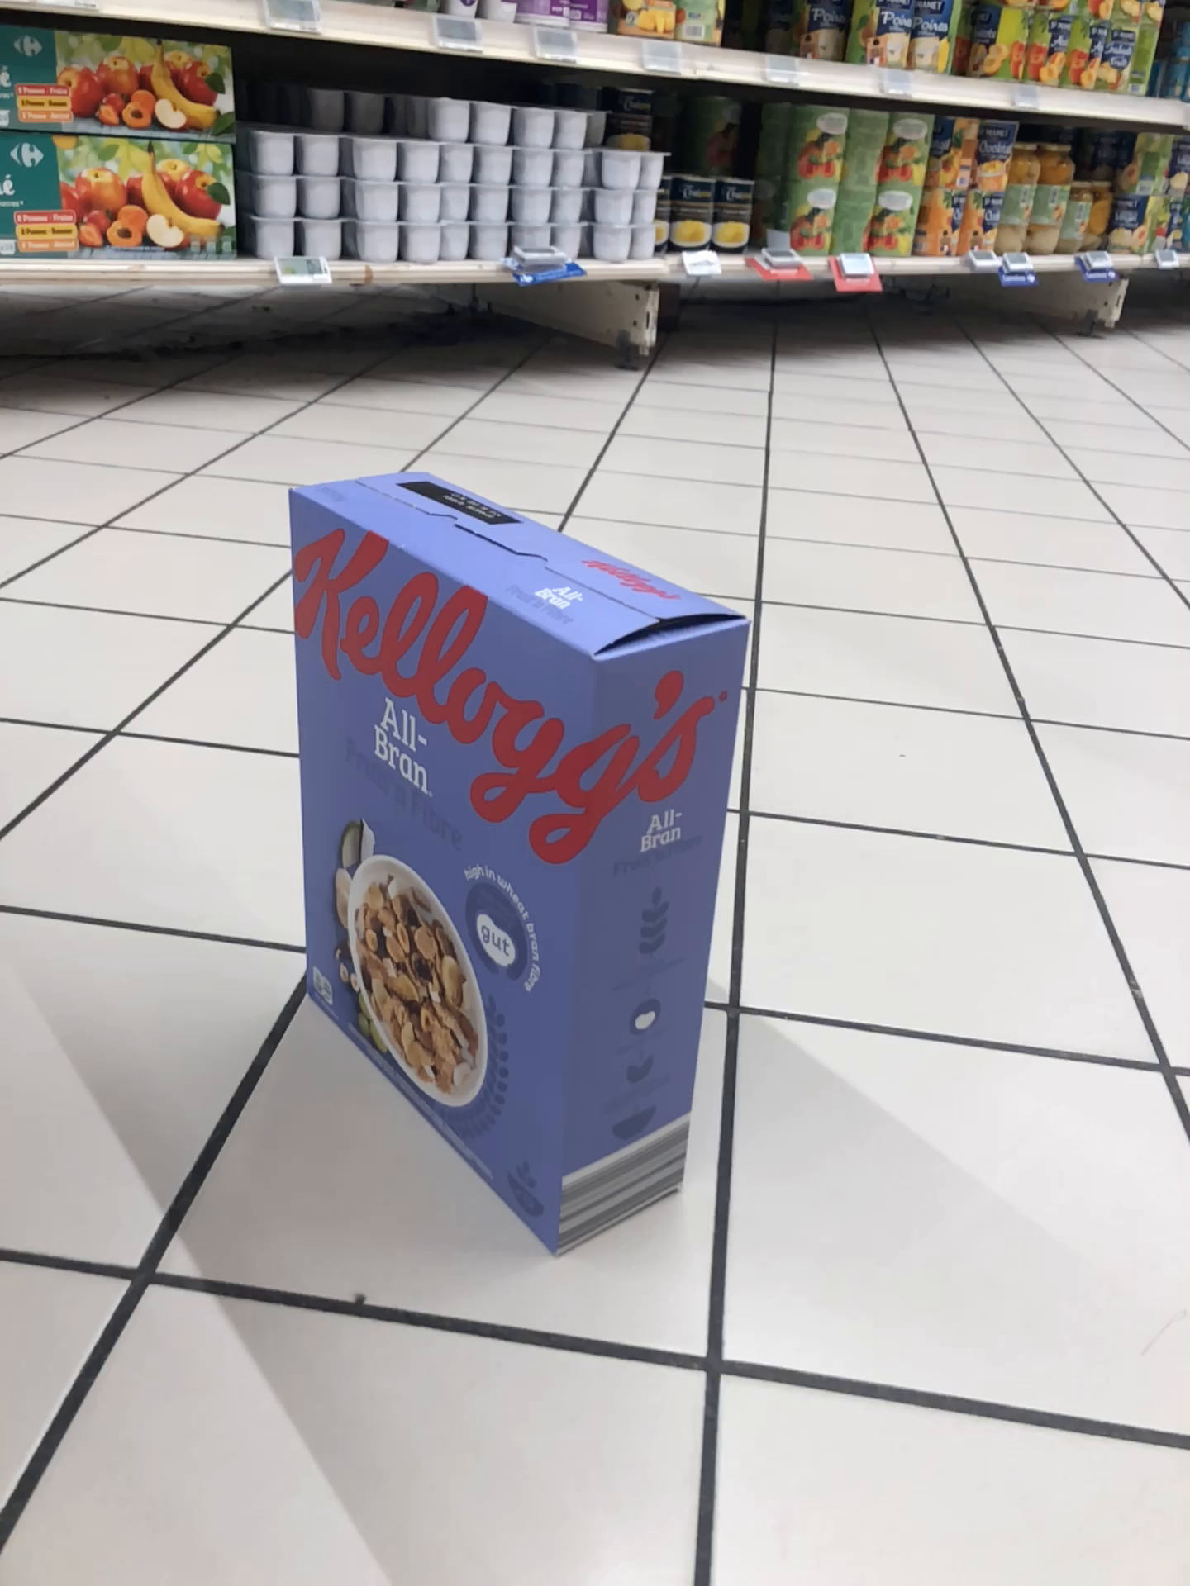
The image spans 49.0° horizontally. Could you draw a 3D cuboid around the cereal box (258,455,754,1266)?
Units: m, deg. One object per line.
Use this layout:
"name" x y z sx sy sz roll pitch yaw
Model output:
"cereal box" -0.048 0.015 0.503 0.070 0.239 0.200 -16 33 -35
